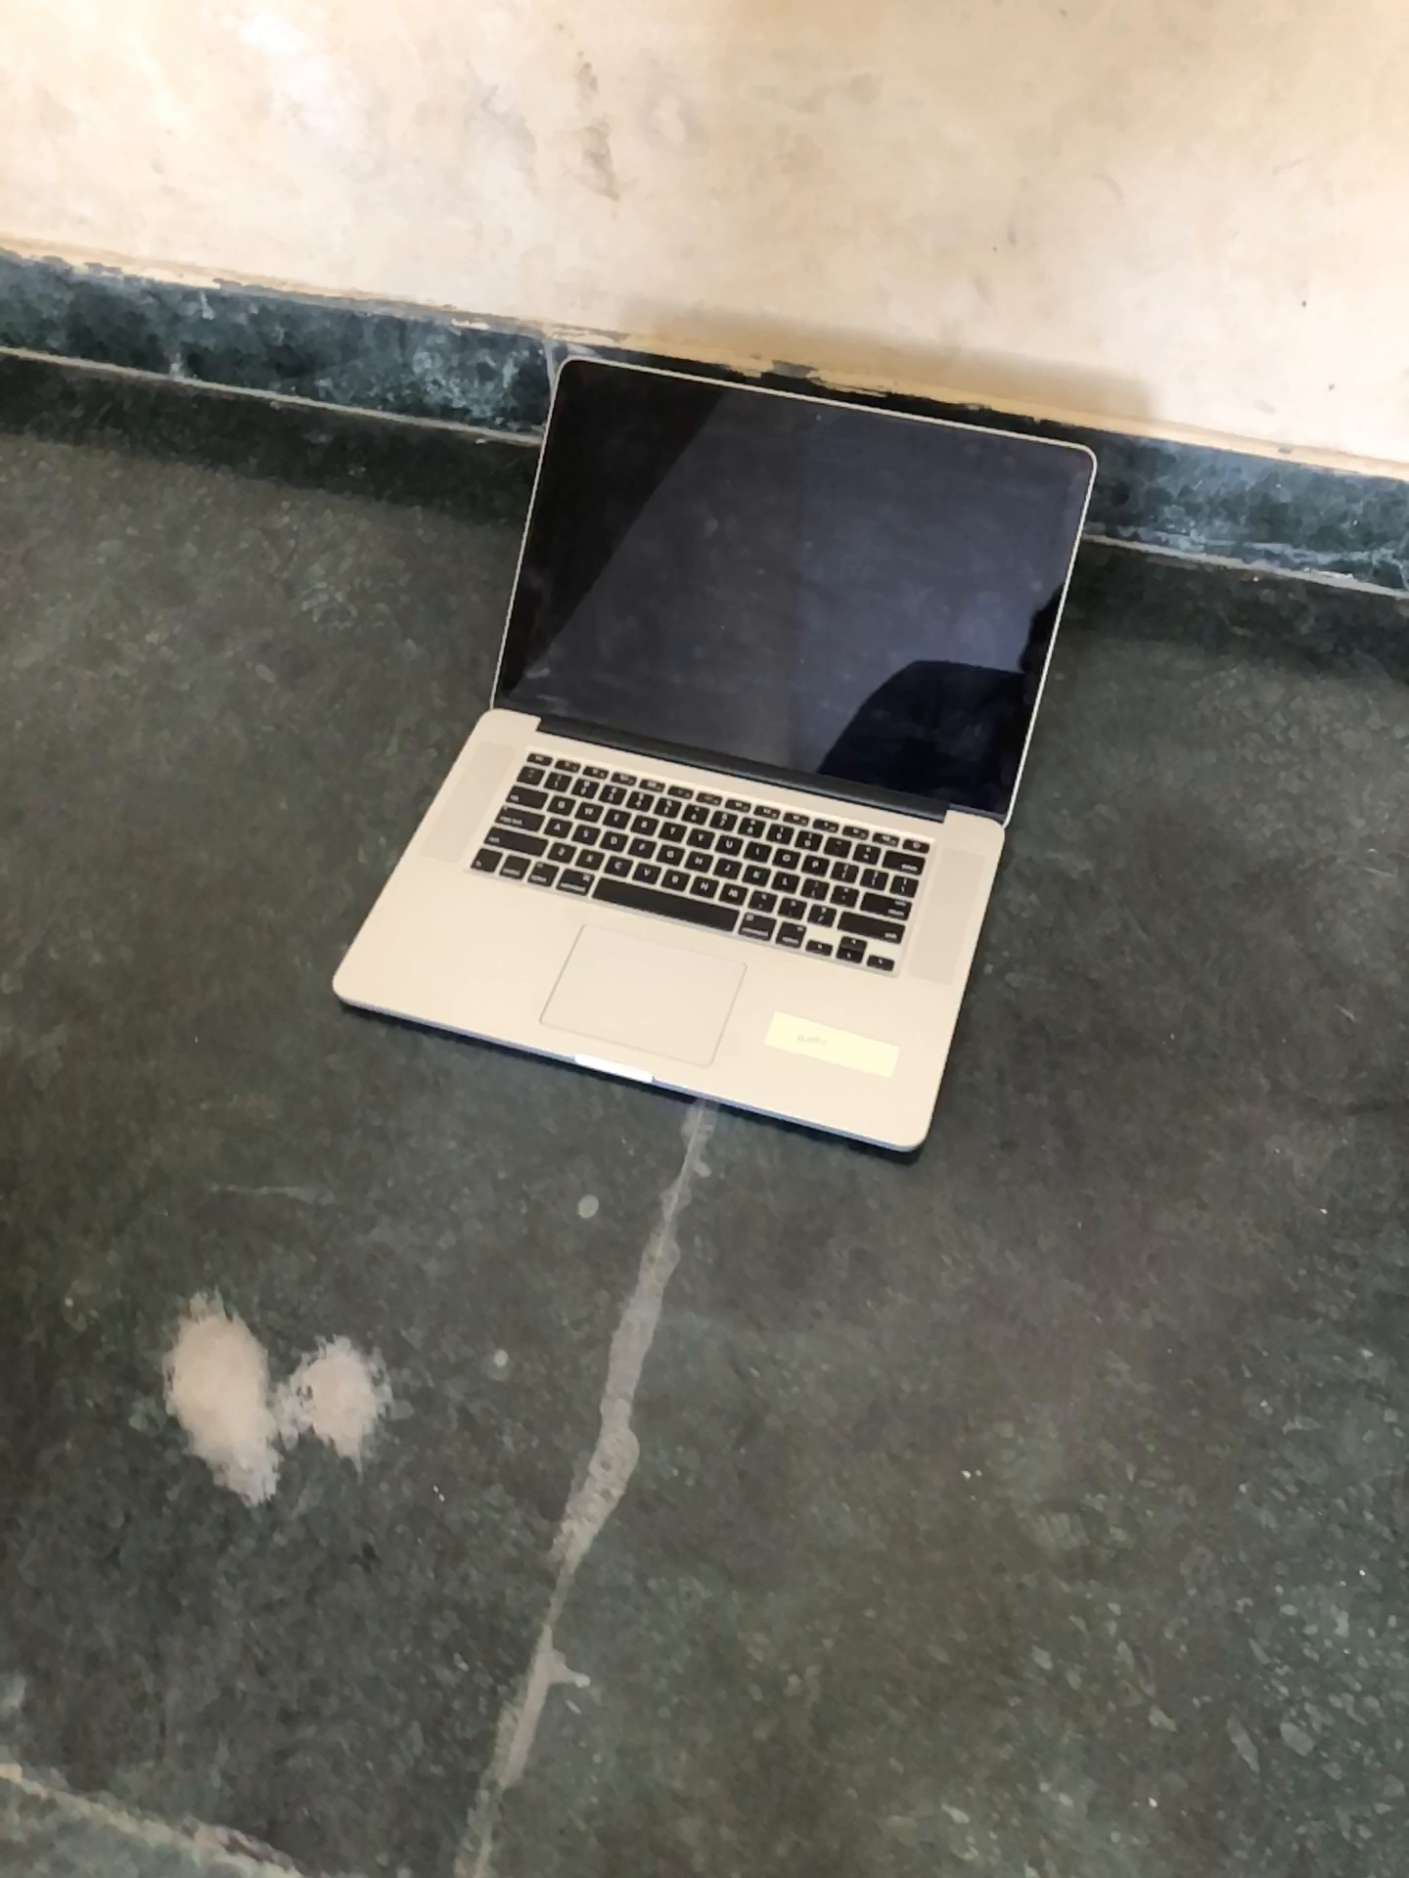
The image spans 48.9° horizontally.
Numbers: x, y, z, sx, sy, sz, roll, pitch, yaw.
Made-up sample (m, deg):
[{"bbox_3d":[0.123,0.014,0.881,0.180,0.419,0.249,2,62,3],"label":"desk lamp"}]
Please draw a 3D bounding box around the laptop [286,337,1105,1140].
[{"bbox_3d":[0.017,-0.142,0.927,0.342,0.130,0.435,14,58,10],"label":"laptop"}]
